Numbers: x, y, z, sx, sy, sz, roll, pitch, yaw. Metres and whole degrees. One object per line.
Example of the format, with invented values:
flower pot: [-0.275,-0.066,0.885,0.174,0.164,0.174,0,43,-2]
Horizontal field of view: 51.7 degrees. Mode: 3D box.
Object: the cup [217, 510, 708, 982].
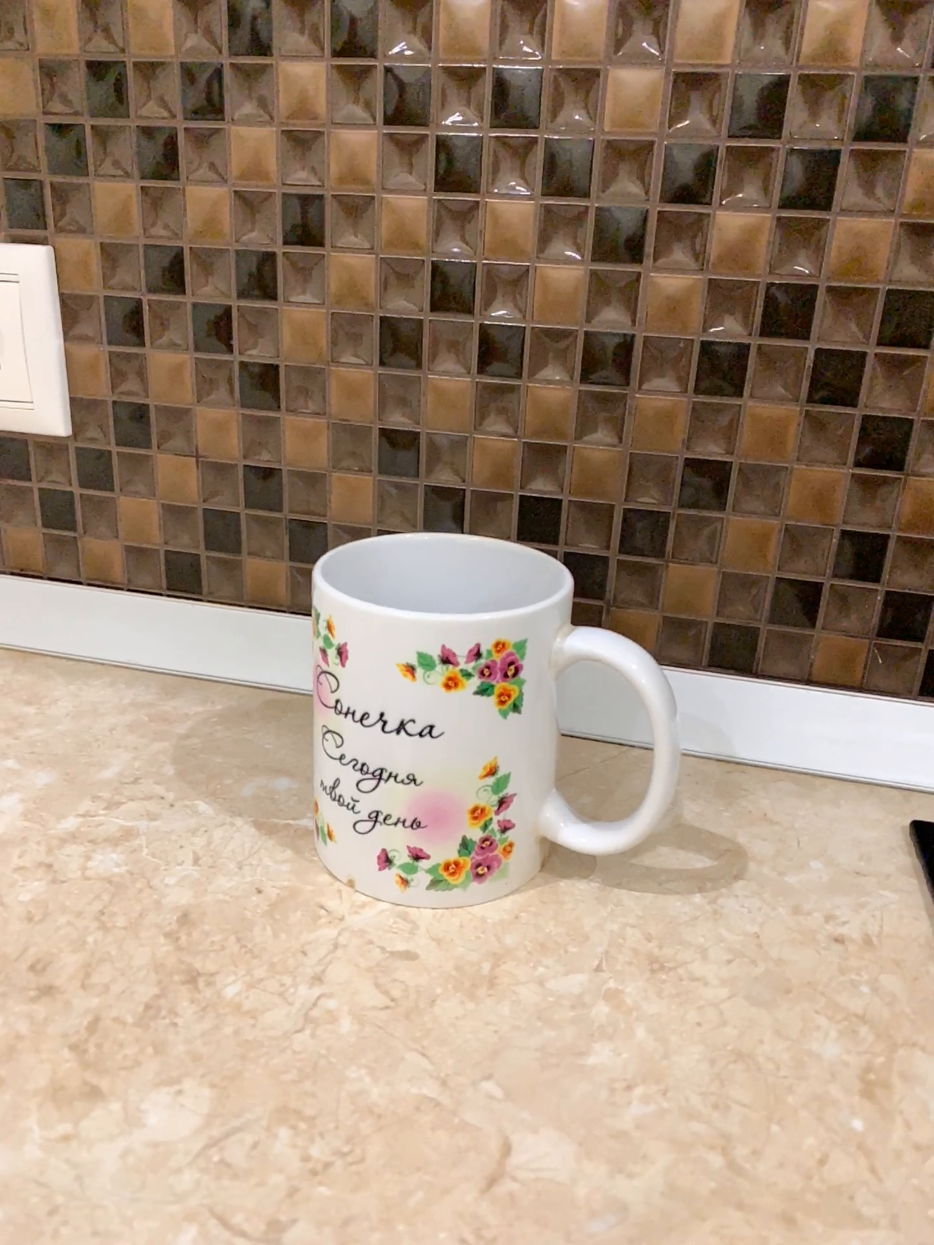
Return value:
cup: [0.002,0.029,0.301,0.123,0.093,0.091,10,22,16]
